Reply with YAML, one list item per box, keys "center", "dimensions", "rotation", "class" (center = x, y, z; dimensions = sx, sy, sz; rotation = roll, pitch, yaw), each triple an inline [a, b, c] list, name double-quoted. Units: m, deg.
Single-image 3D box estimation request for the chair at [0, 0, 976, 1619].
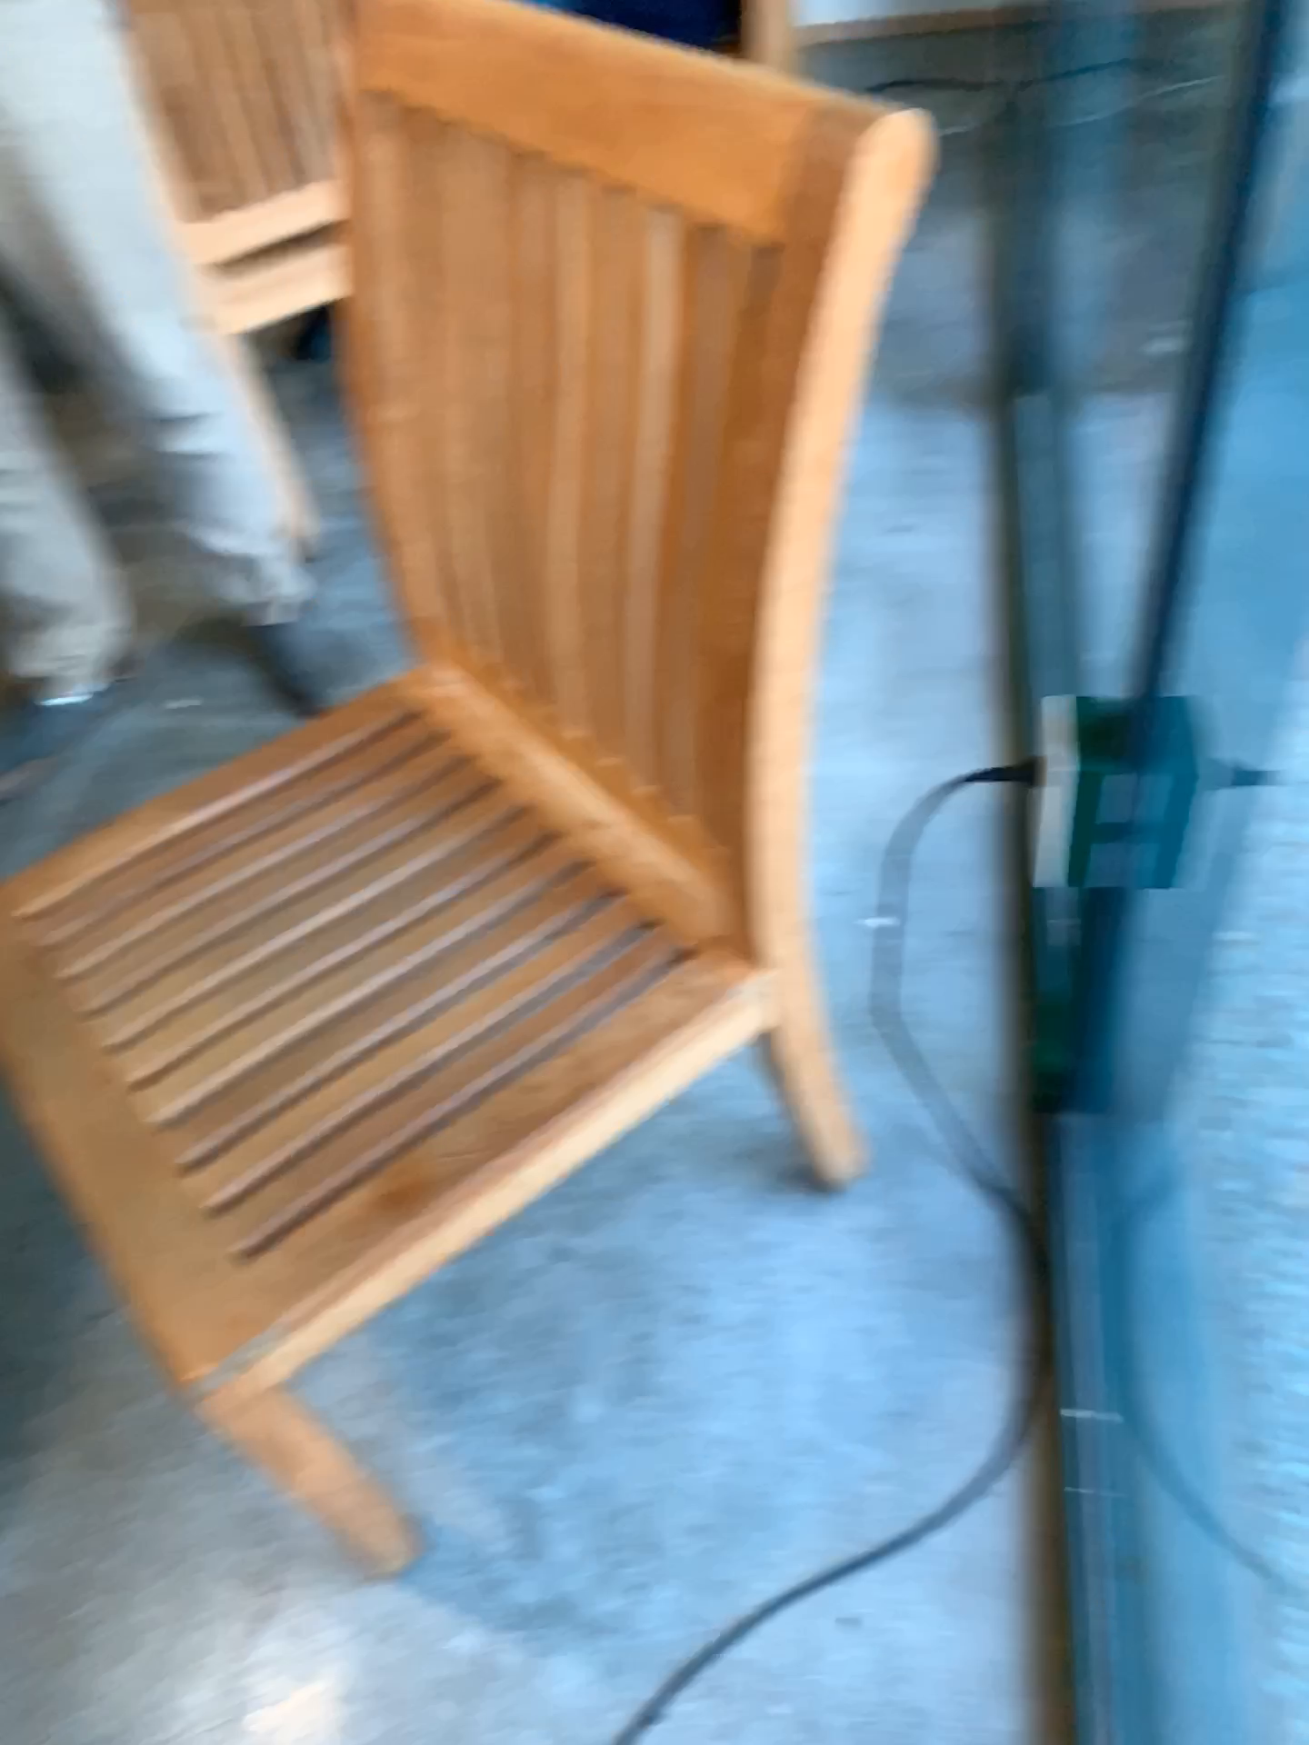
- center: [-0.201, -0.022, 0.966]
  dimensions: [0.610, 0.916, 0.532]
  rotation: [-33, 51, -19]
  class: "chair"
